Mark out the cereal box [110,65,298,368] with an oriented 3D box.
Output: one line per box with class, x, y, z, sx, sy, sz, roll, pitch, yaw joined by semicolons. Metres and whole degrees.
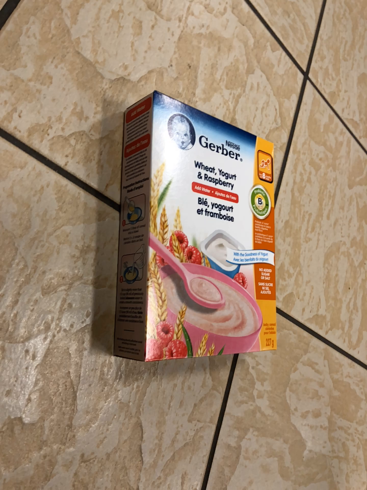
cereal box;0.025;-0.013;0.346;0.161;0.050;0.210;8;78;-40
